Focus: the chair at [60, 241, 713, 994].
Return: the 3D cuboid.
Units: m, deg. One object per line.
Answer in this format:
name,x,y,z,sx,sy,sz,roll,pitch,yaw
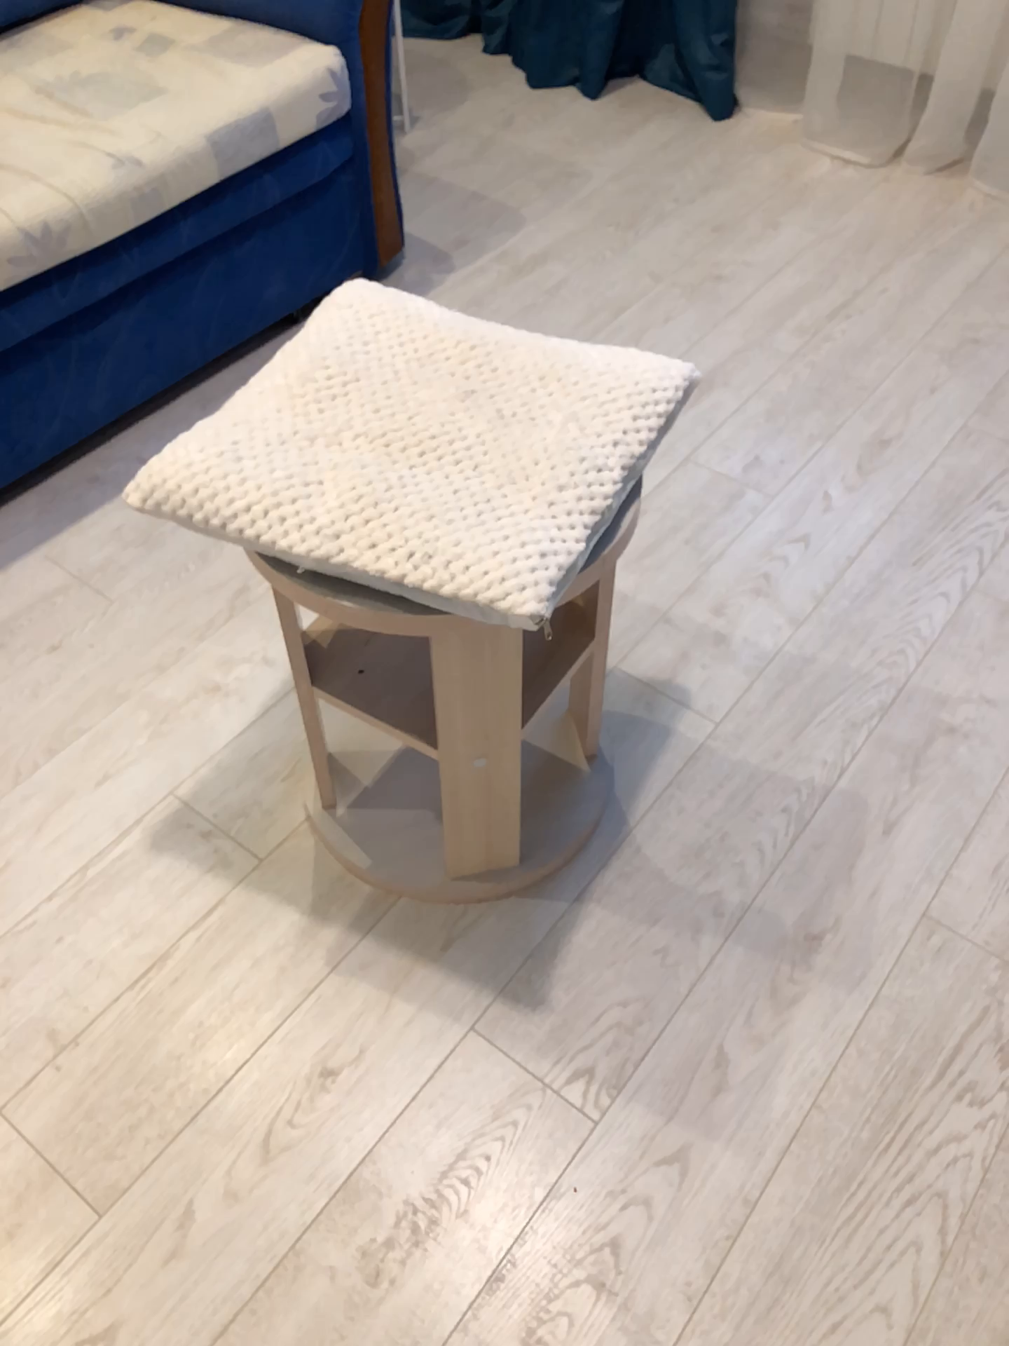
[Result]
chair,-0.094,-0.050,1.140,0.401,0.546,0.382,32,56,26
